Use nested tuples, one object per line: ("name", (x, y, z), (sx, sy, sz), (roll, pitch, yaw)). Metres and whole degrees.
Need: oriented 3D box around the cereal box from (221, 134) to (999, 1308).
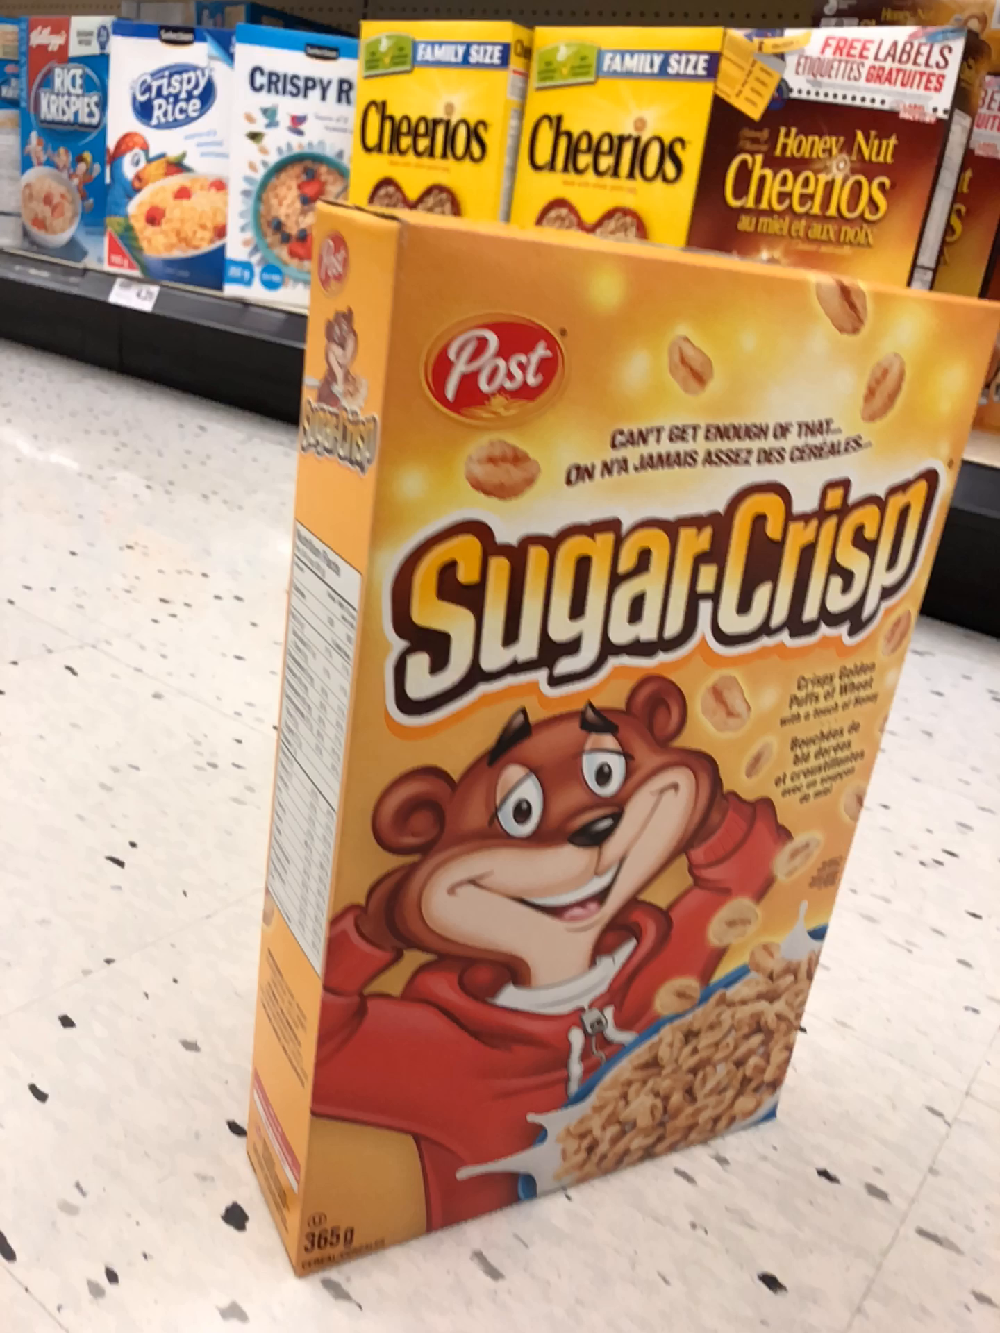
("cereal box", (0.037, 0.022, 0.331), (0.210, 0.298, 0.060), (-4, 24, -30))
